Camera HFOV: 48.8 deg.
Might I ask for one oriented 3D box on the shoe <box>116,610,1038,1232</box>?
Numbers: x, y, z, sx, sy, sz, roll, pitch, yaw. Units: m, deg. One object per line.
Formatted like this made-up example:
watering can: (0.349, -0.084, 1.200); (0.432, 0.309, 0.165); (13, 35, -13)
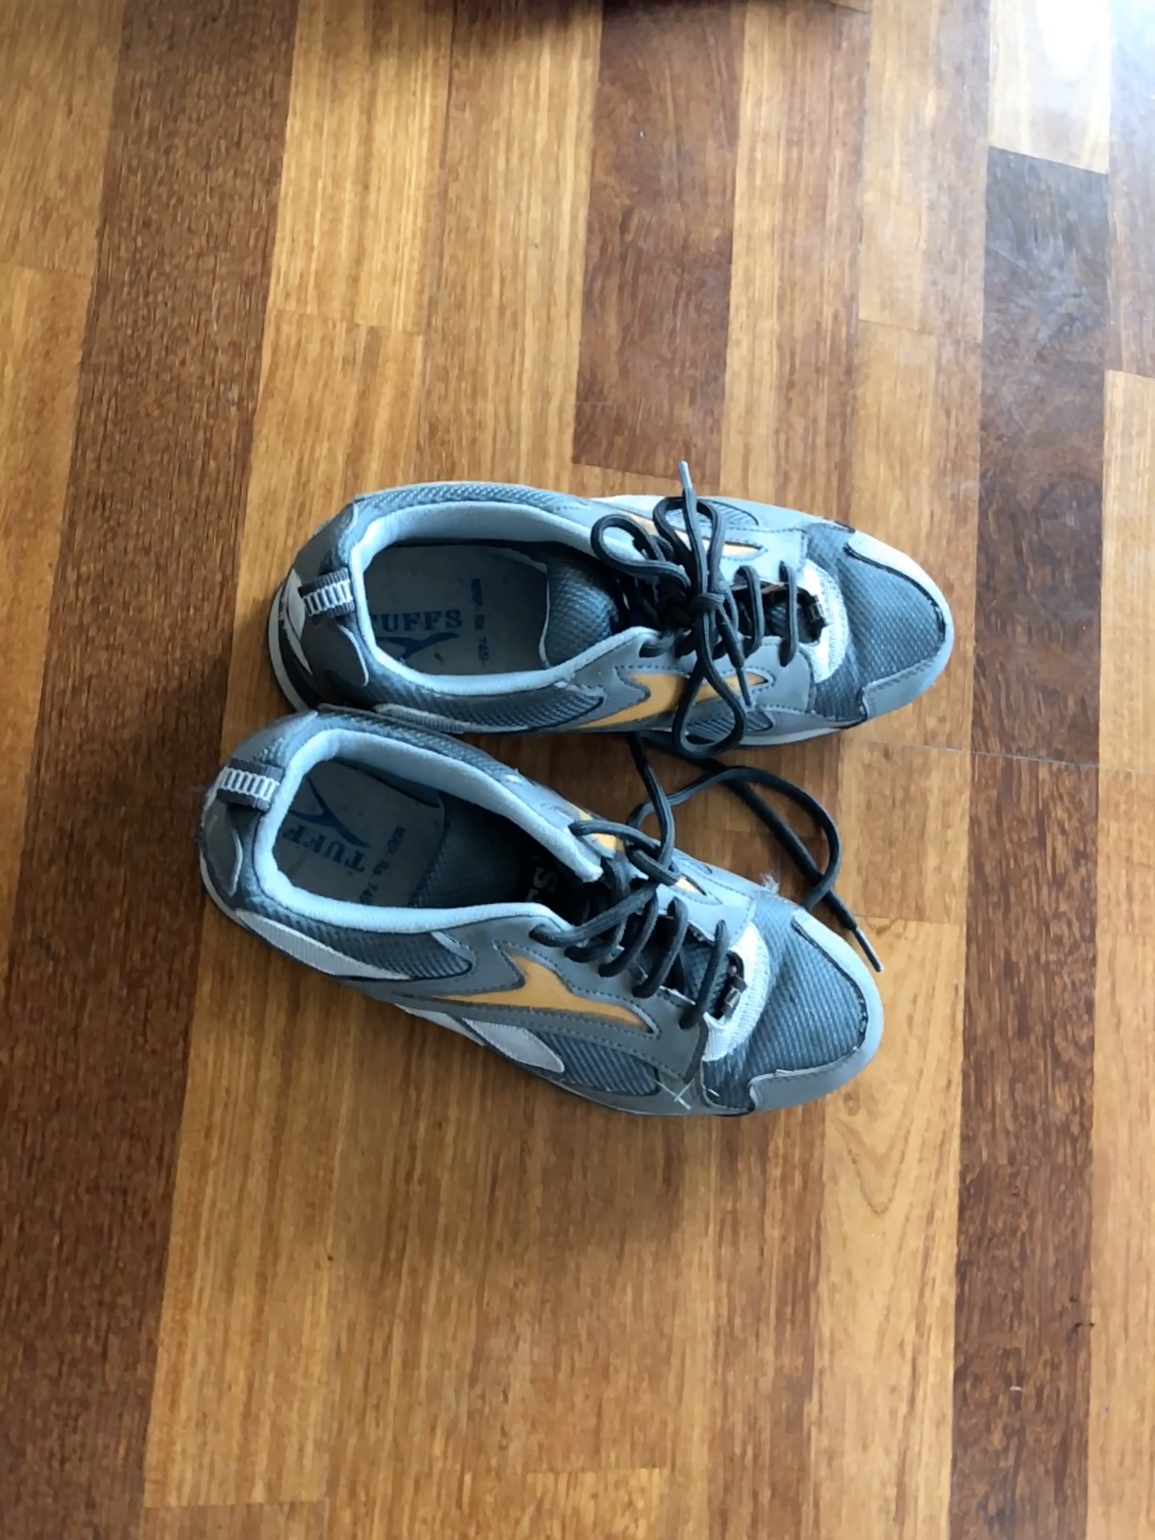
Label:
shoe: (0.003, 0.058, 0.444); (0.283, 0.088, 0.110); (21, 76, -12)

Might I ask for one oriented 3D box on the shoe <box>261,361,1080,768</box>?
shoe: (0.029, -0.065, 0.476); (0.283, 0.099, 0.112); (0, 81, -15)
